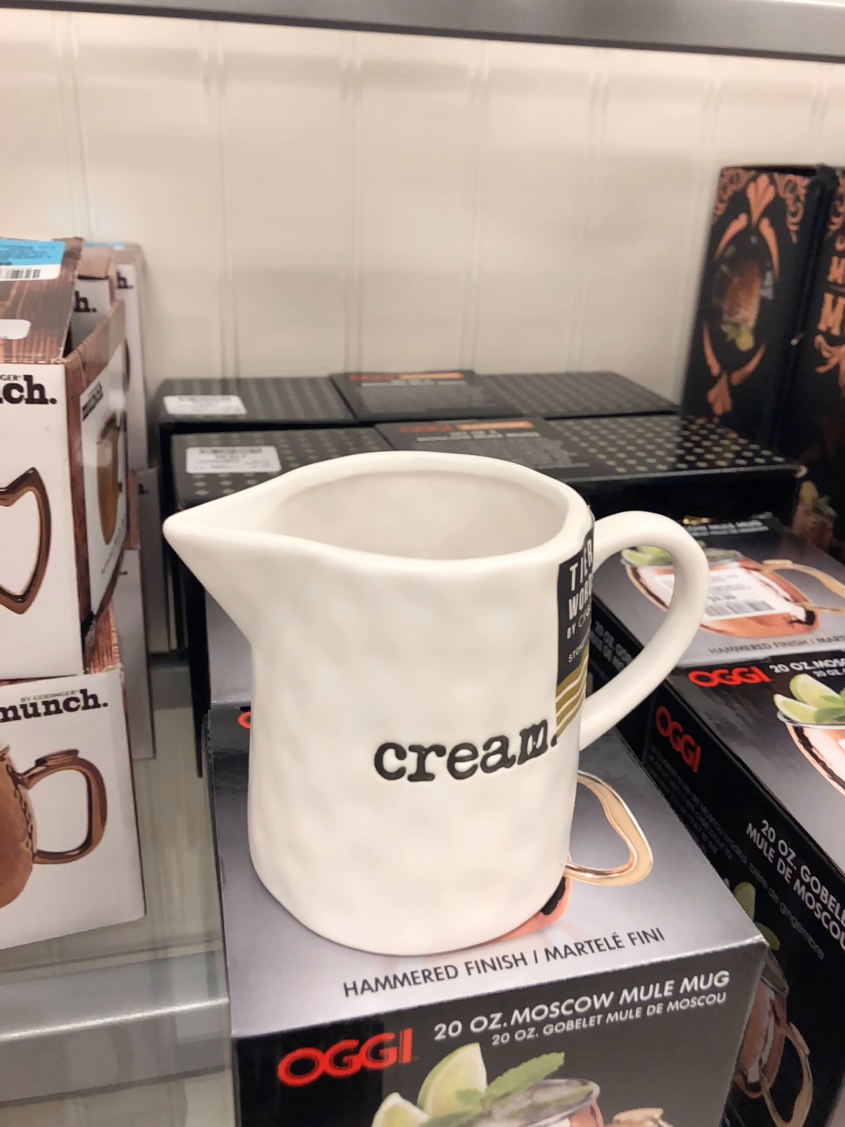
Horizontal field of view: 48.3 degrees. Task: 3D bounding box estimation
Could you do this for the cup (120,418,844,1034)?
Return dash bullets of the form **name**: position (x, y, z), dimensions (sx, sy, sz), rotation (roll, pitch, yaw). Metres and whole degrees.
- **cup**: position (0.011, 0.022, 0.187), dimensions (0.125, 0.080, 0.063), rotation (-7, 25, -19)
